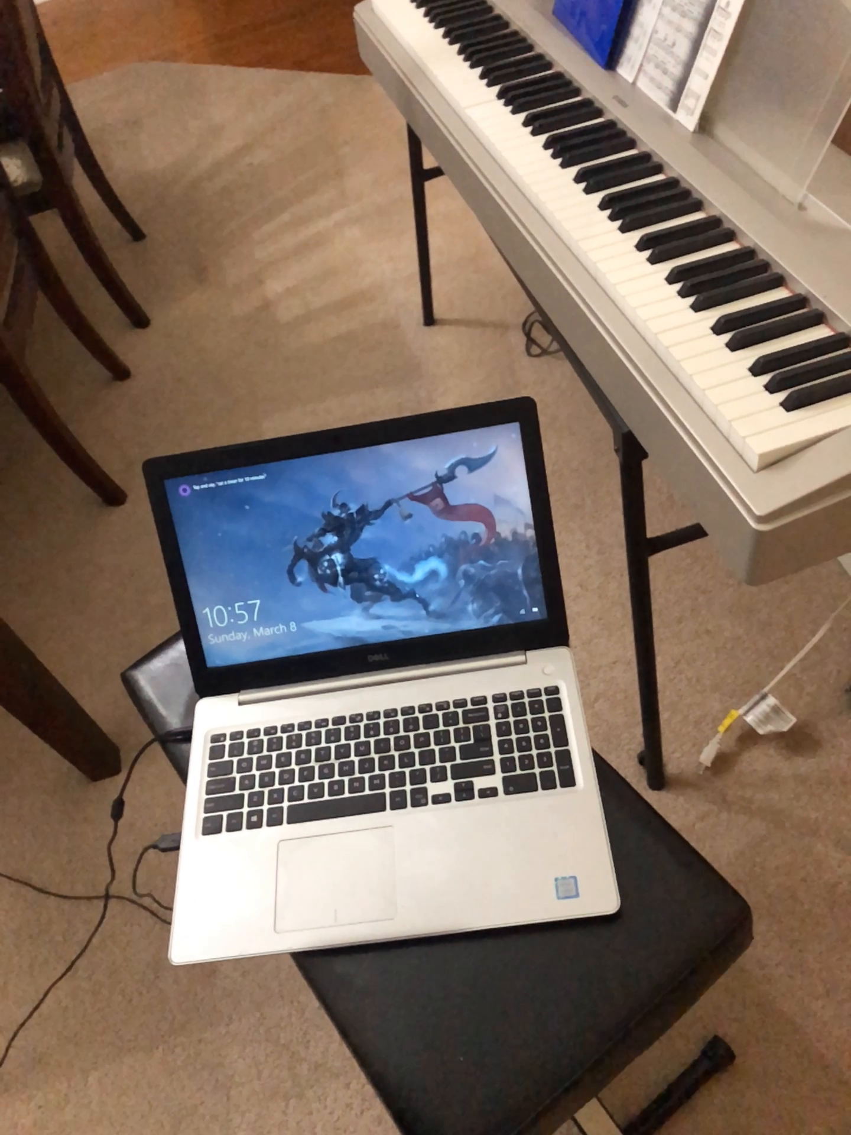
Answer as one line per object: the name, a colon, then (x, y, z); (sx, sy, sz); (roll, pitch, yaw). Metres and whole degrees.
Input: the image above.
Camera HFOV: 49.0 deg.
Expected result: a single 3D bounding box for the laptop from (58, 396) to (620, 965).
laptop: (-0.061, 0.086, 0.815); (0.374, 0.183, 0.410); (-9, 51, 5)
